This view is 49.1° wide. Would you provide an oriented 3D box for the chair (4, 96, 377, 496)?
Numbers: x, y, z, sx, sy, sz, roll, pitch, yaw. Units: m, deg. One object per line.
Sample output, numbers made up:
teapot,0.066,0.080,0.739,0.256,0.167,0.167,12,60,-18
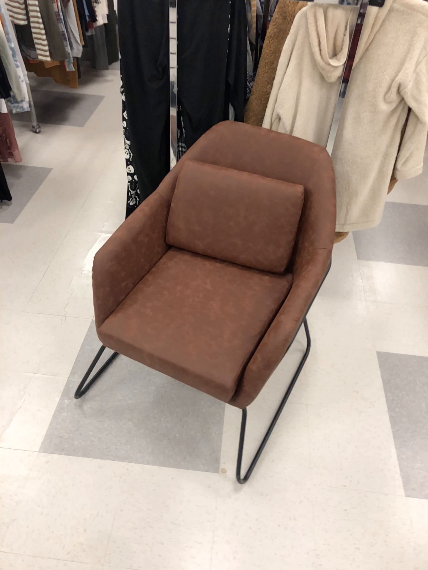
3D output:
chair,-0.028,0.000,1.554,0.735,0.849,0.763,21,45,18
